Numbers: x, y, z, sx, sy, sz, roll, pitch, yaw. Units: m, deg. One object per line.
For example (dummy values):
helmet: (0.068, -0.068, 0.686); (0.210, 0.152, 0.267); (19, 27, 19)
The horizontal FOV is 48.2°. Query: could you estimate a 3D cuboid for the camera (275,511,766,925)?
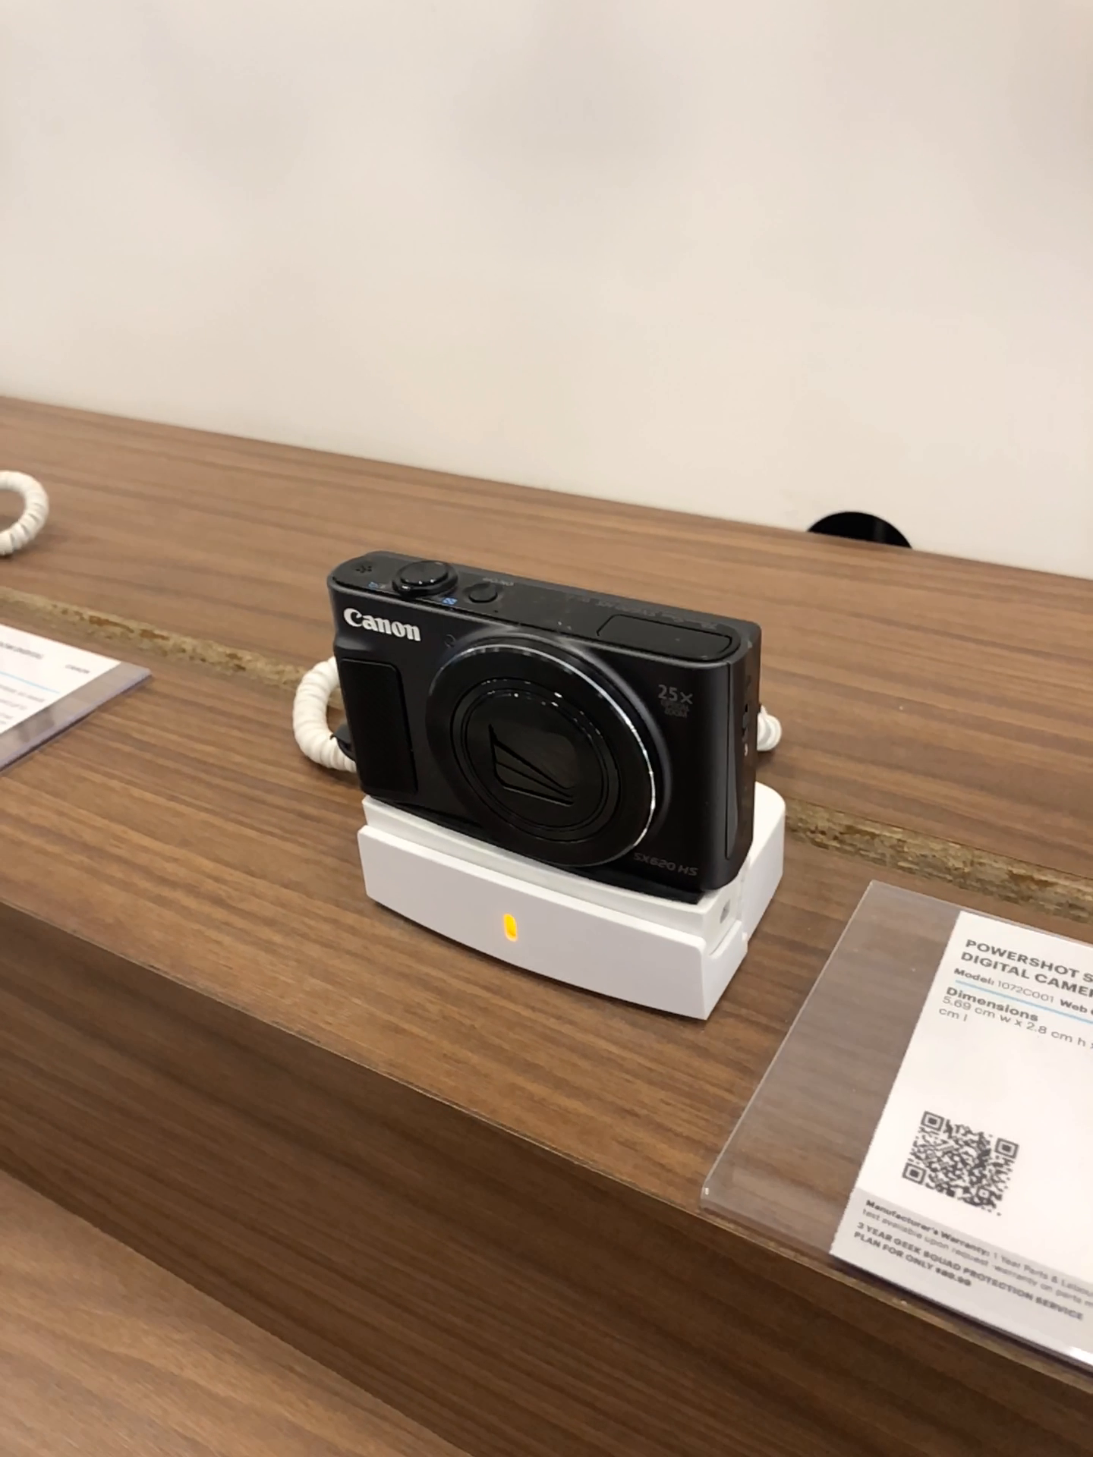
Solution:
camera: (-0.007, -0.005, 0.264); (0.100, 0.060, 0.030); (16, 36, 28)
